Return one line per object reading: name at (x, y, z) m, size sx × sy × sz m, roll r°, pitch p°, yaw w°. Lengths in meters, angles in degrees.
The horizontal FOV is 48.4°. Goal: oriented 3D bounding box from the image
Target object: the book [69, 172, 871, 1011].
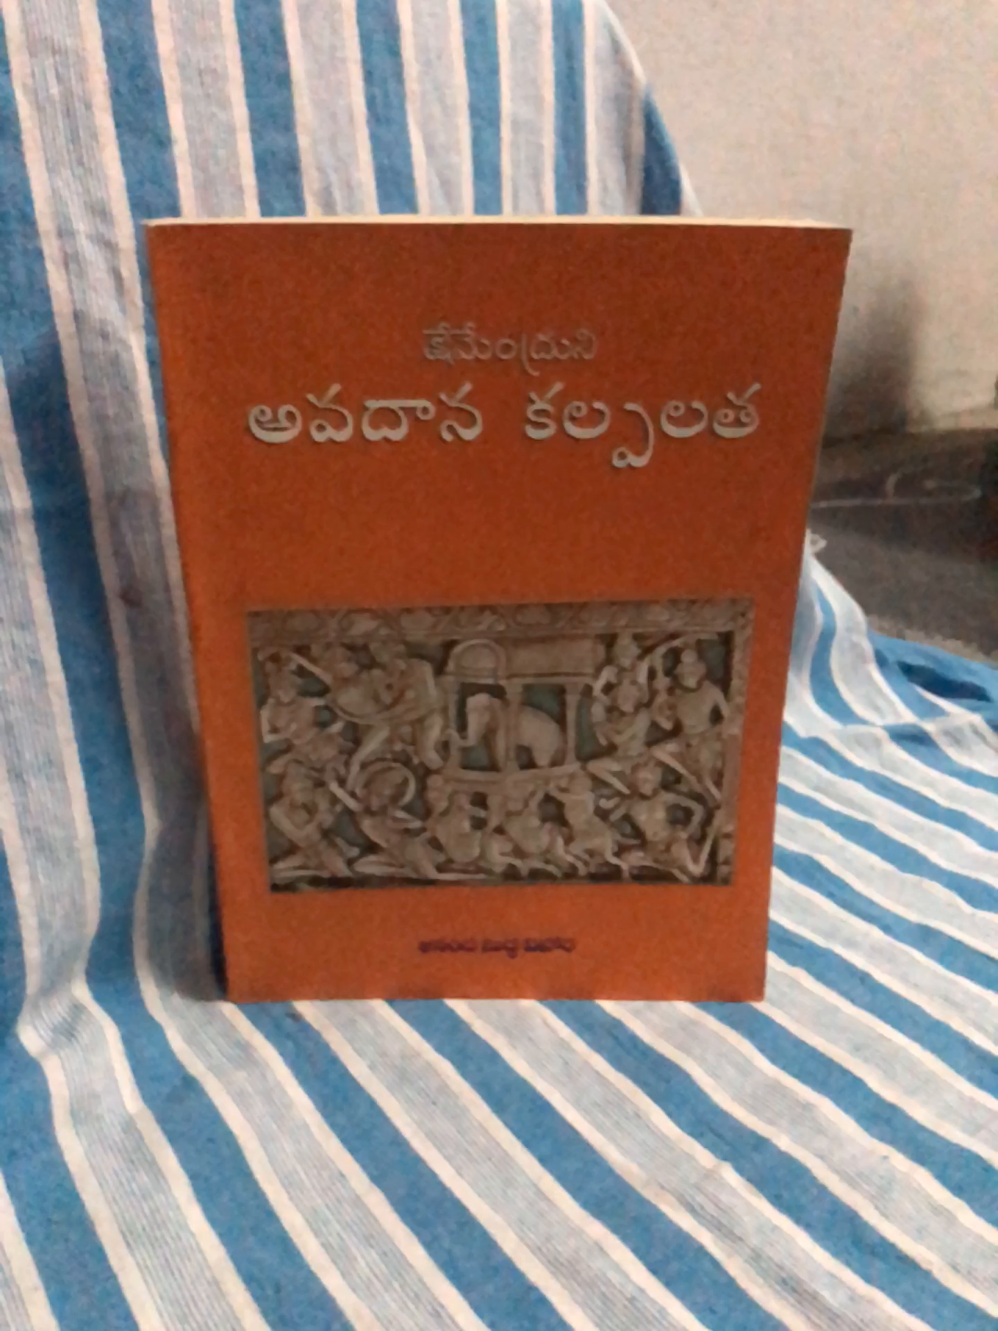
book at (-0.007, -0.009, 0.306) m, size 0.180 × 0.229 × 0.030 m, roll 0°, pitch 22°, yaw -2°
